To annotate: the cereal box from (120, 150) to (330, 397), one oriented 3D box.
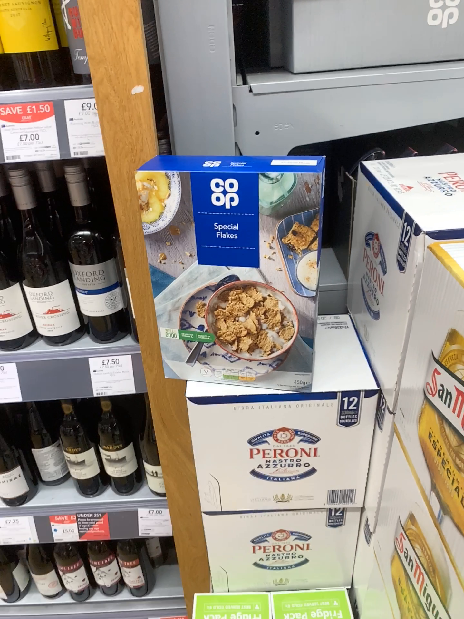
[{"bbox_3d":[0.003,-0.036,0.547,0.200,0.267,0.071,3,32,13],"label":"cereal box"}]
